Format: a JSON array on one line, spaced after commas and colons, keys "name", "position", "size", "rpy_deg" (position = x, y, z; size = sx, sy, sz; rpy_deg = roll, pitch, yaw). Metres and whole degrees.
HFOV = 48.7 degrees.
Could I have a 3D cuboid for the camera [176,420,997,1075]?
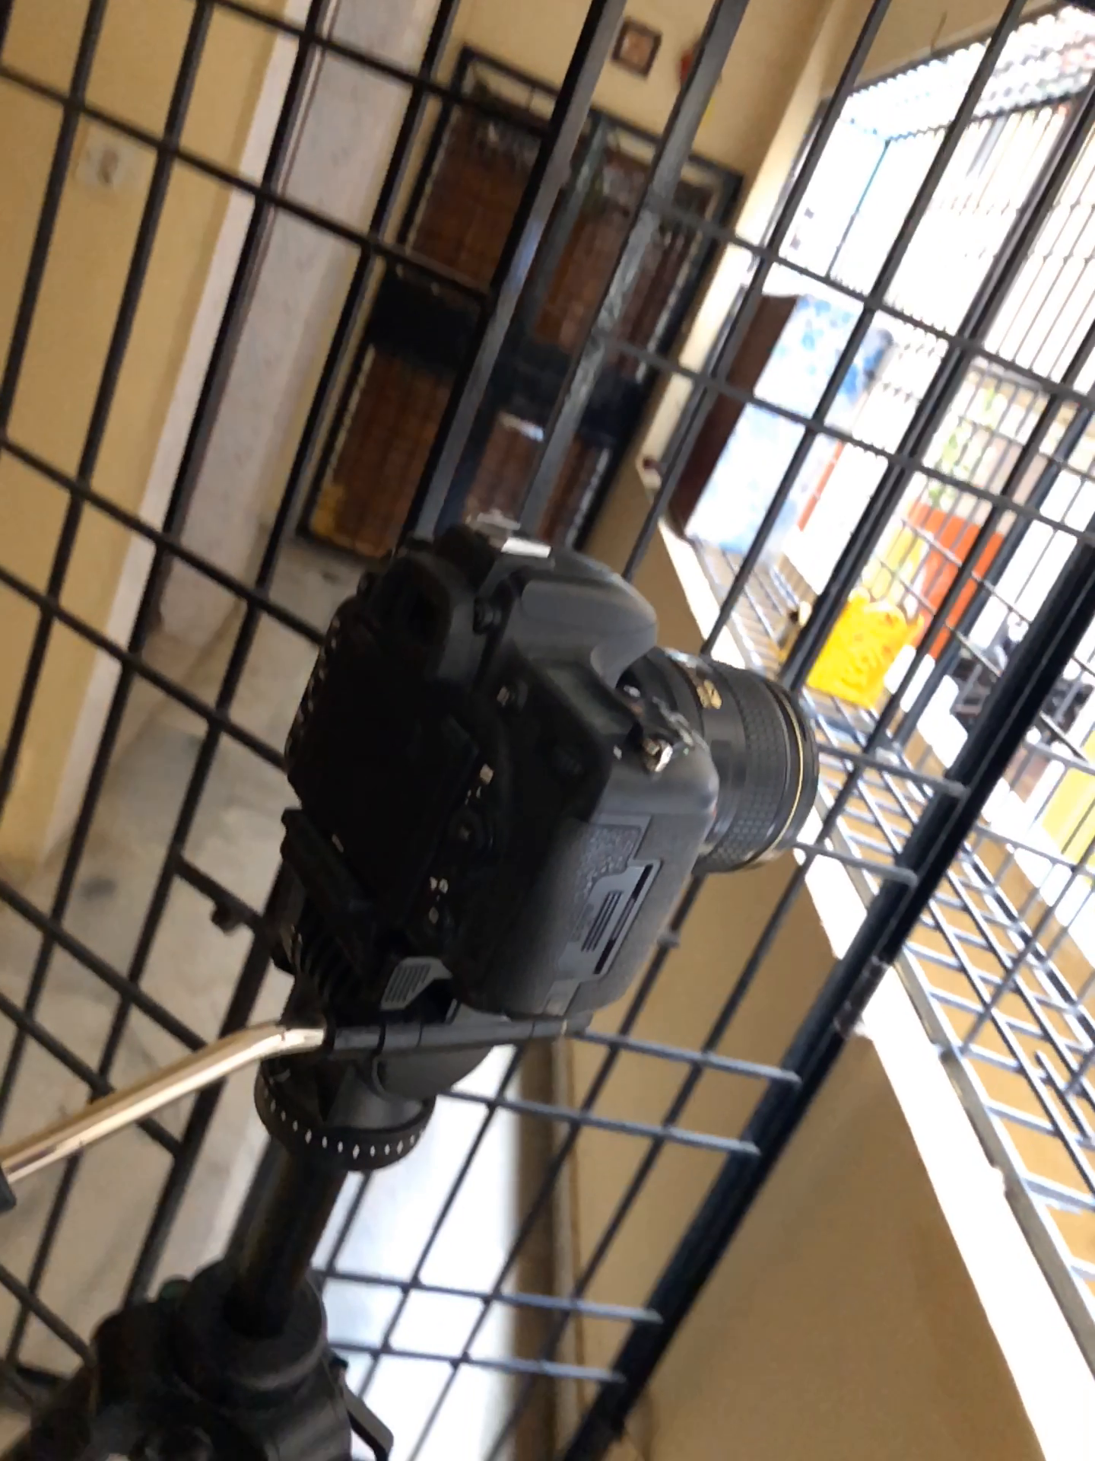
[{"name": "camera", "position": [0.005, 0.000, 0.384], "size": [0.171, 0.105, 0.171], "rpy_deg": [6, 27, -40]}]
